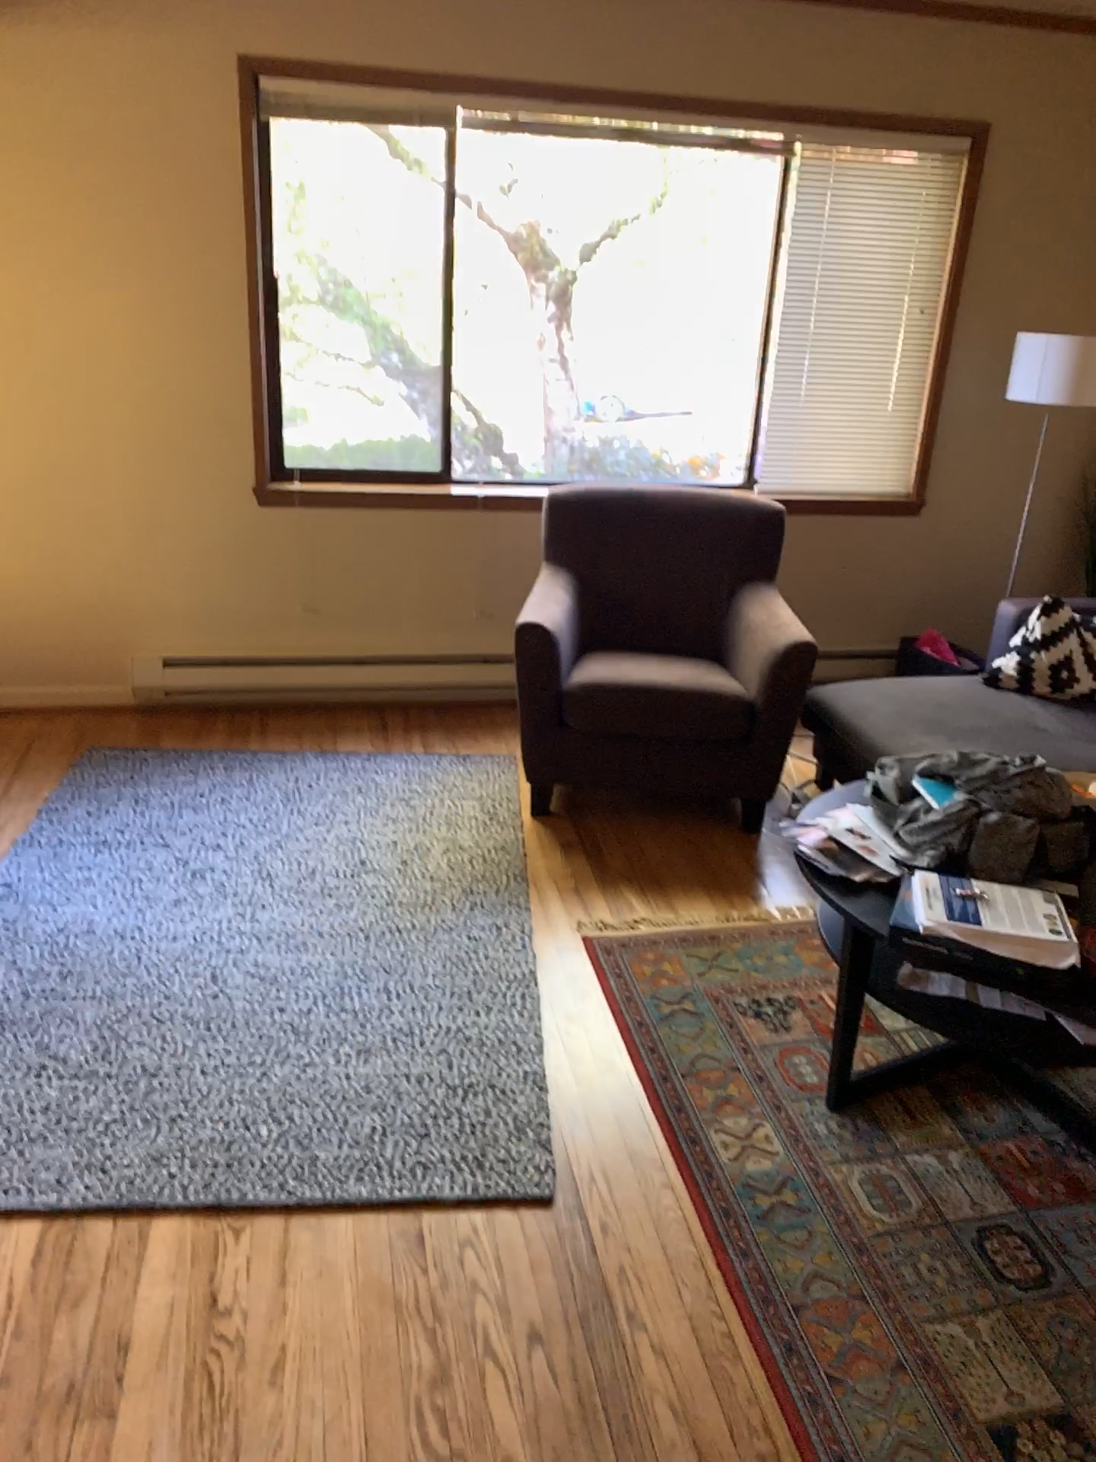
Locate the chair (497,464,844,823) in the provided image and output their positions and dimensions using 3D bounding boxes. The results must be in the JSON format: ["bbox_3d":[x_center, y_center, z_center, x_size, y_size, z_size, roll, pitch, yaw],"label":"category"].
[{"bbox_3d":[0.331,-0.312,3.485,0.880,0.876,0.804,4,19,1],"label":"chair"}]
